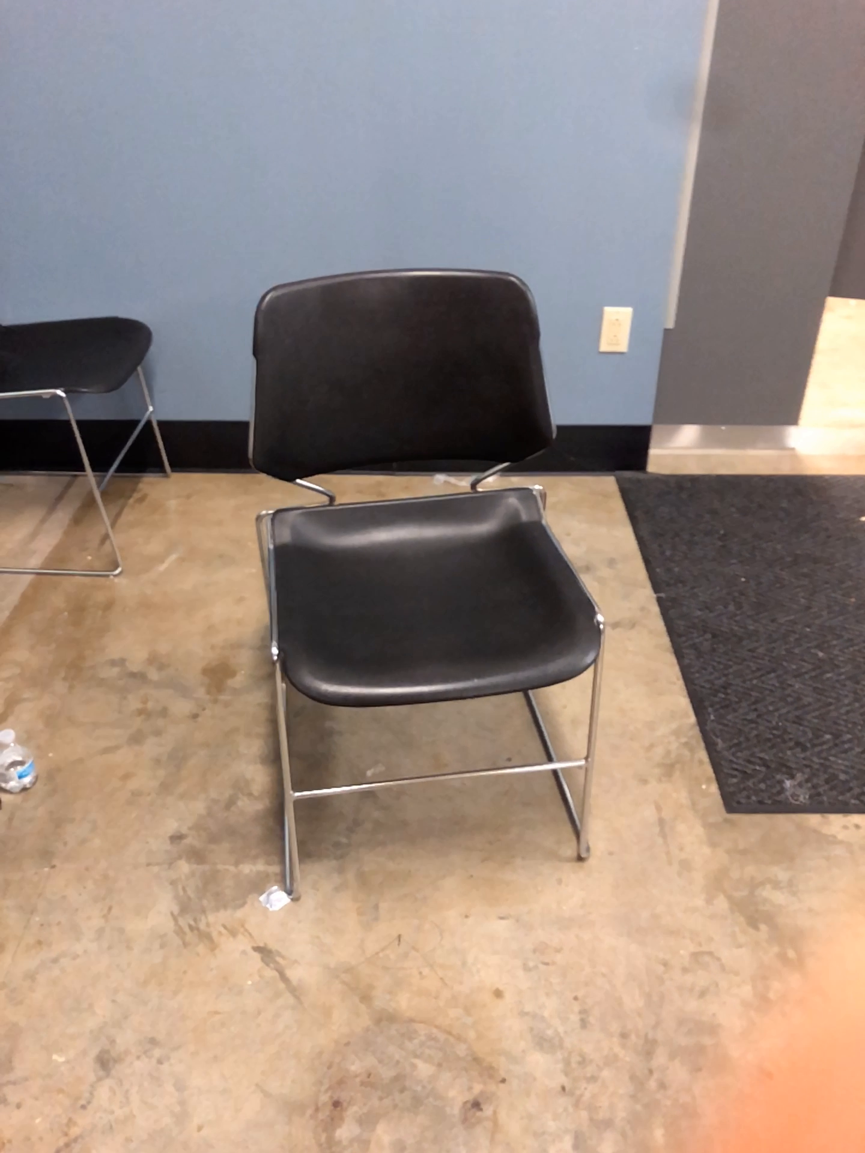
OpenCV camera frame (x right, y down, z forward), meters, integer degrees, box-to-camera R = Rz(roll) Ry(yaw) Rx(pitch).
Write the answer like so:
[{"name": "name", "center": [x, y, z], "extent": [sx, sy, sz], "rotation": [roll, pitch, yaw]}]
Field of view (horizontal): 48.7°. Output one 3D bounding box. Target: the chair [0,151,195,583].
[{"name": "chair", "center": [-0.952, -0.473, 2.147], "extent": [0.595, 0.799, 0.553], "rotation": [0, 33, 1]}]

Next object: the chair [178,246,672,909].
[{"name": "chair", "center": [-0.038, -0.012, 1.463], "extent": [0.531, 0.799, 0.547], "rotation": [-5, 34, -7]}]
